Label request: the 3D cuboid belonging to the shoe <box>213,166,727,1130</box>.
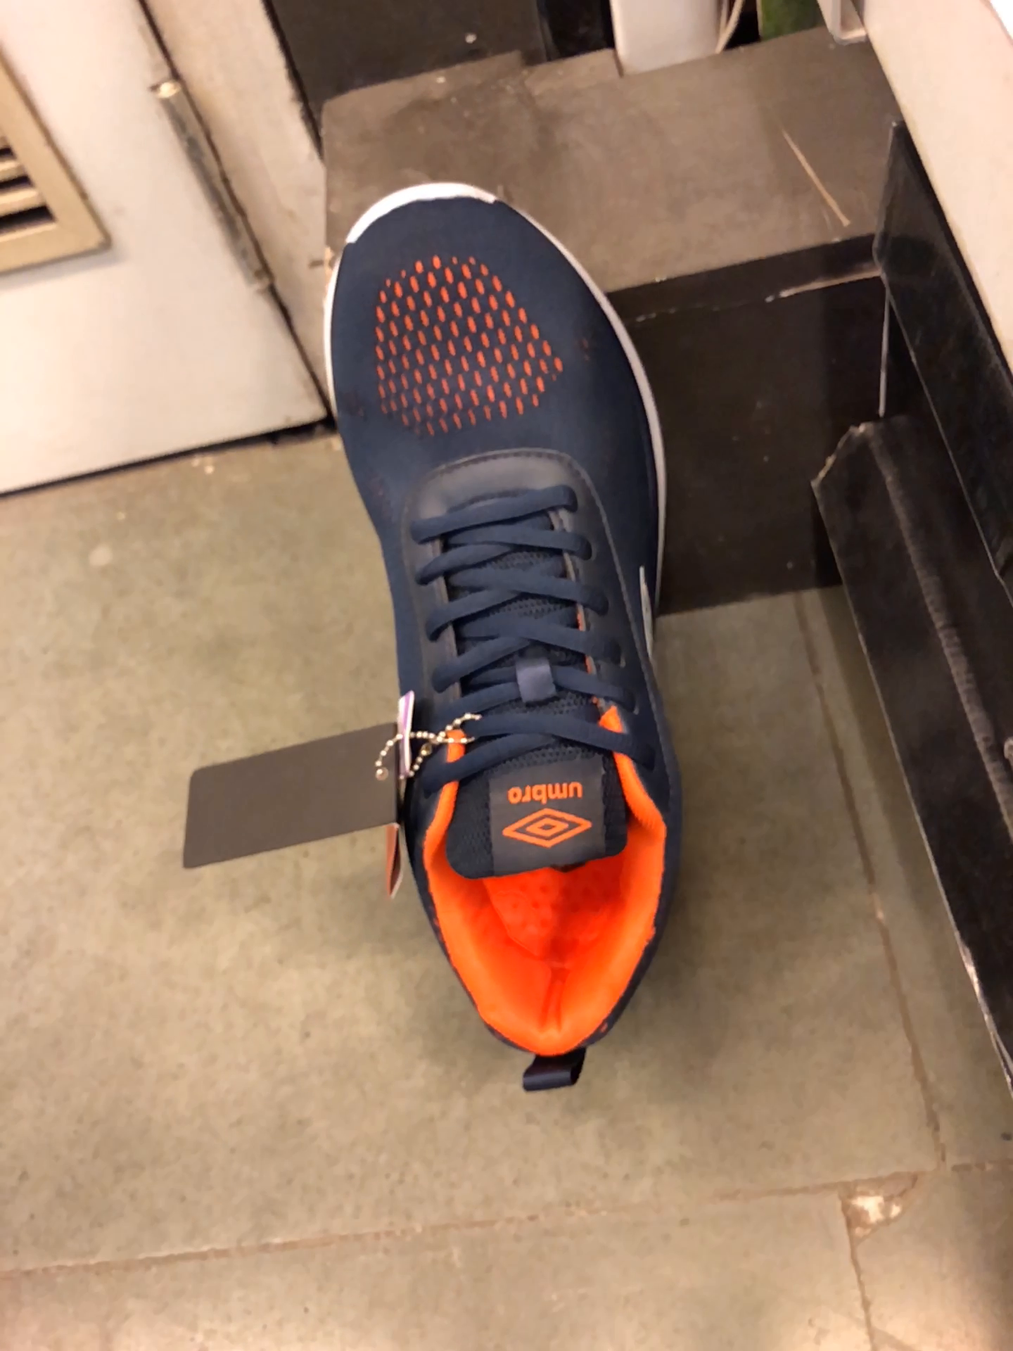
[{"bbox_3d":[0.002,-0.010,0.354,0.092,0.259,0.134,-8,25,3],"label":"shoe"}]
